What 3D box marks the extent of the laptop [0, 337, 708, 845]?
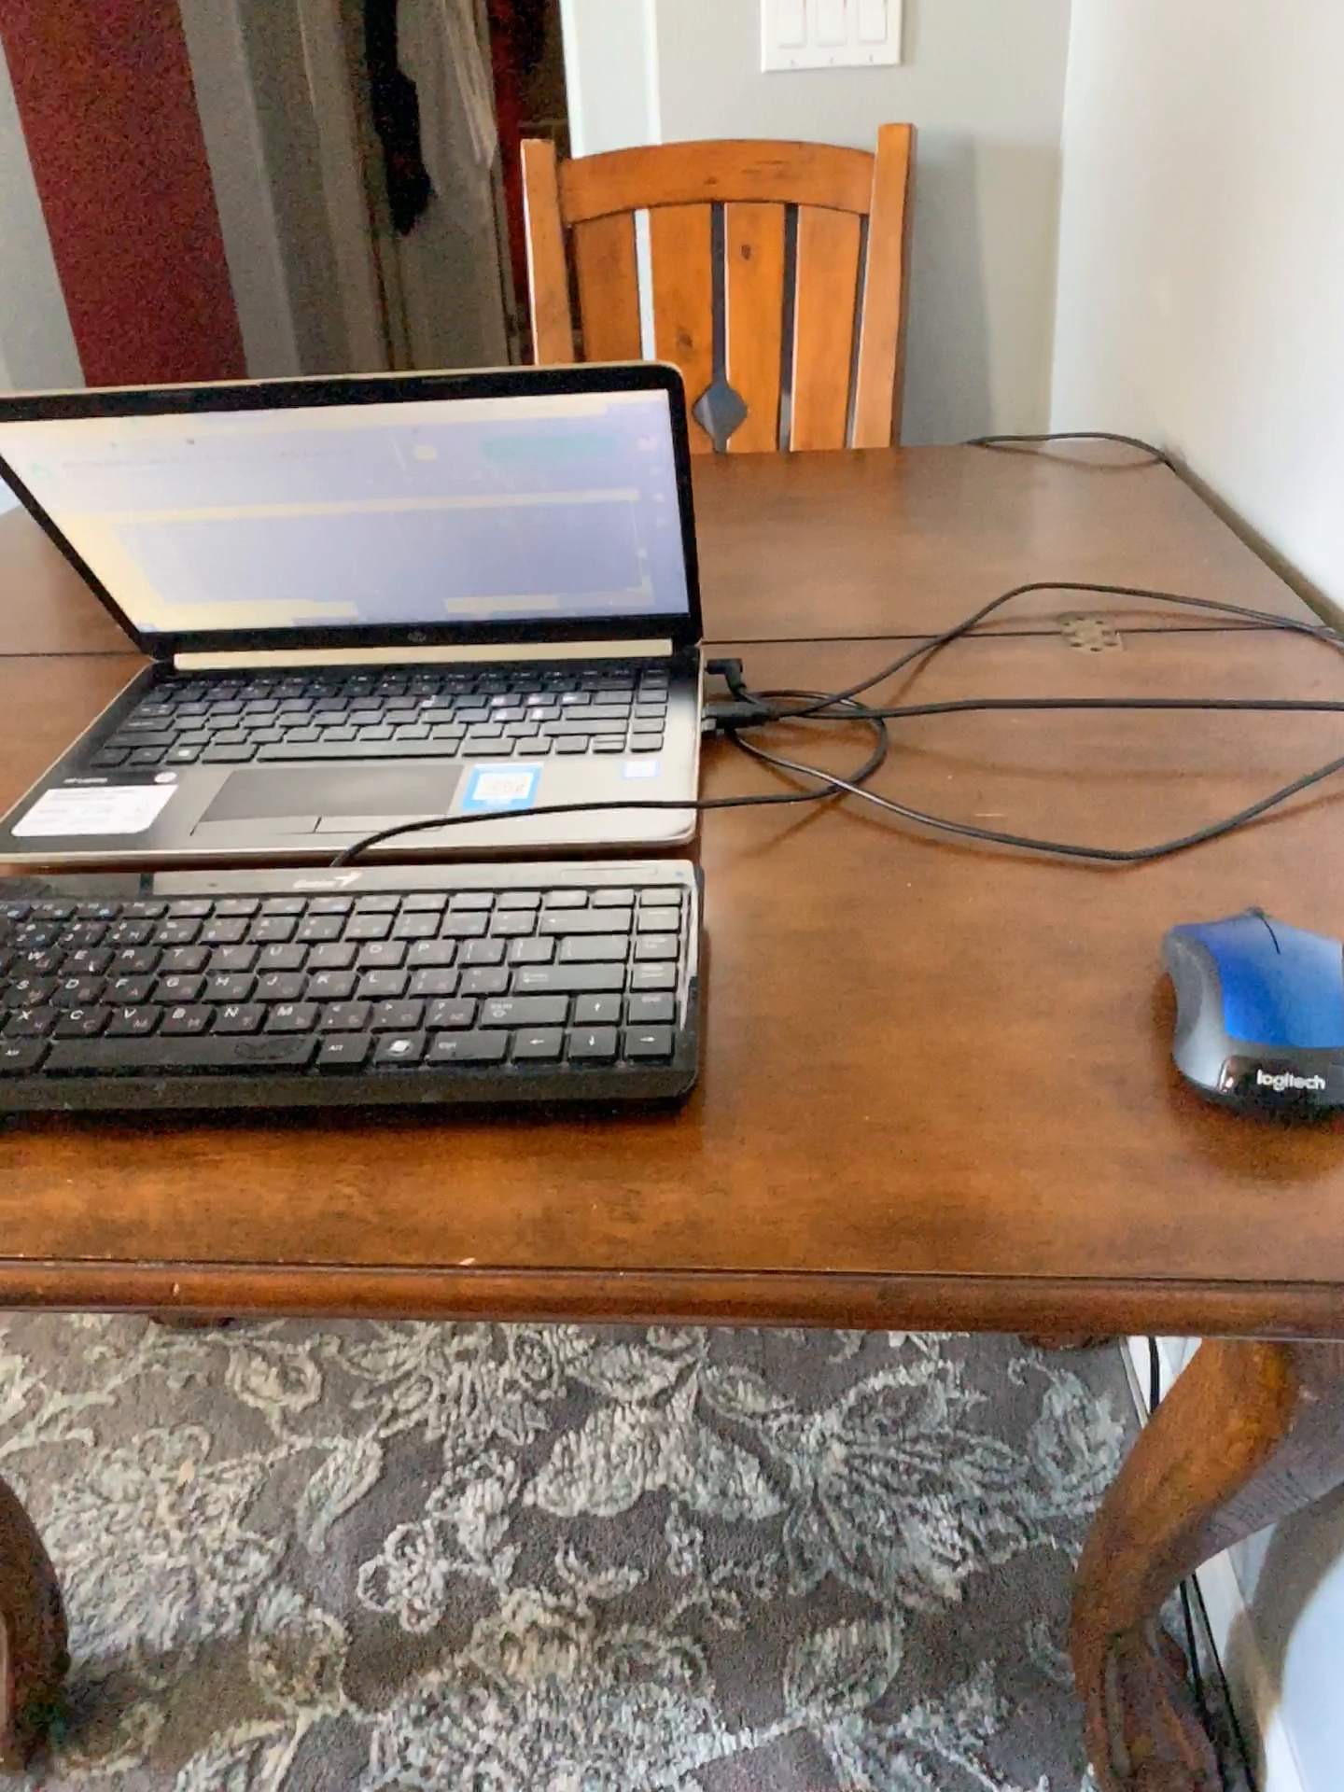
[{"bbox_3d":[-0.142,-0.148,0.639,0.302,0.157,0.200,-1,32,5],"label":"laptop"}]
